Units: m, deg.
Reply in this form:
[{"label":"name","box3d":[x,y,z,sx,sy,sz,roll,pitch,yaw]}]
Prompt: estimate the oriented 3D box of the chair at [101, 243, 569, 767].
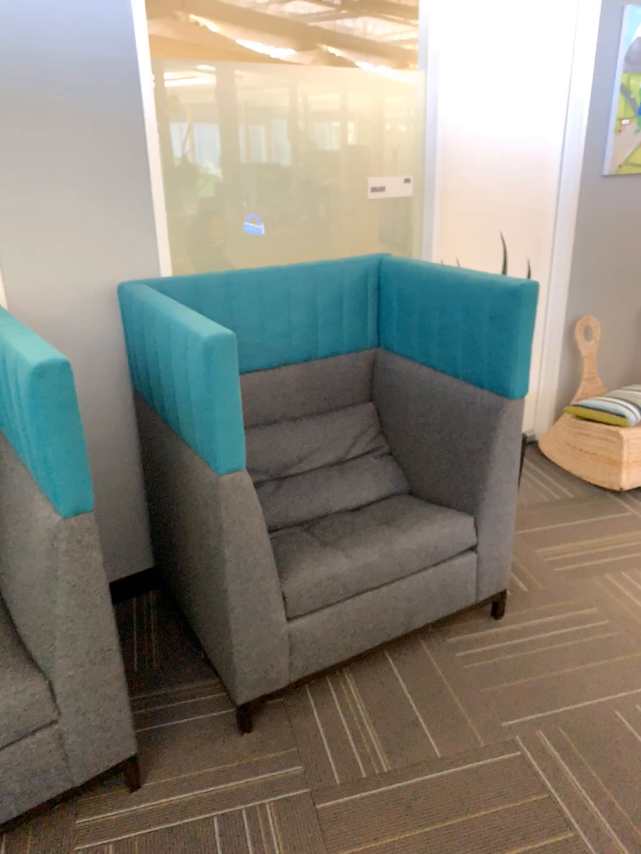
[{"label":"chair","box3d":[-0.002,0.094,2.229,1.050,1.213,1.015,-13,25,-27]}]
